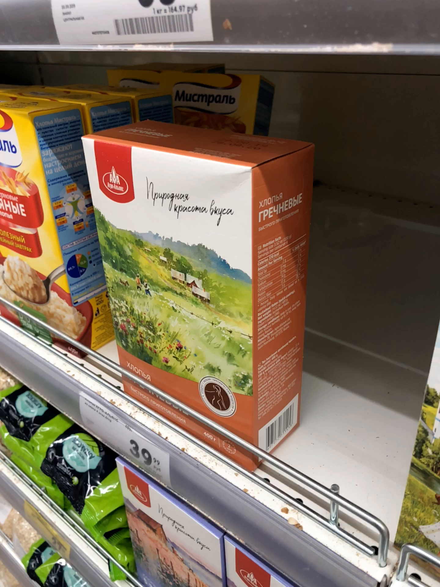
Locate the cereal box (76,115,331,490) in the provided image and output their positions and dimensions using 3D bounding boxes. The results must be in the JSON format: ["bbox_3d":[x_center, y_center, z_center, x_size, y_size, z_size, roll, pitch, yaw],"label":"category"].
[{"bbox_3d":[-0.011,0.002,0.309,0.130,0.199,0.060,21,36,35],"label":"cereal box"}]
